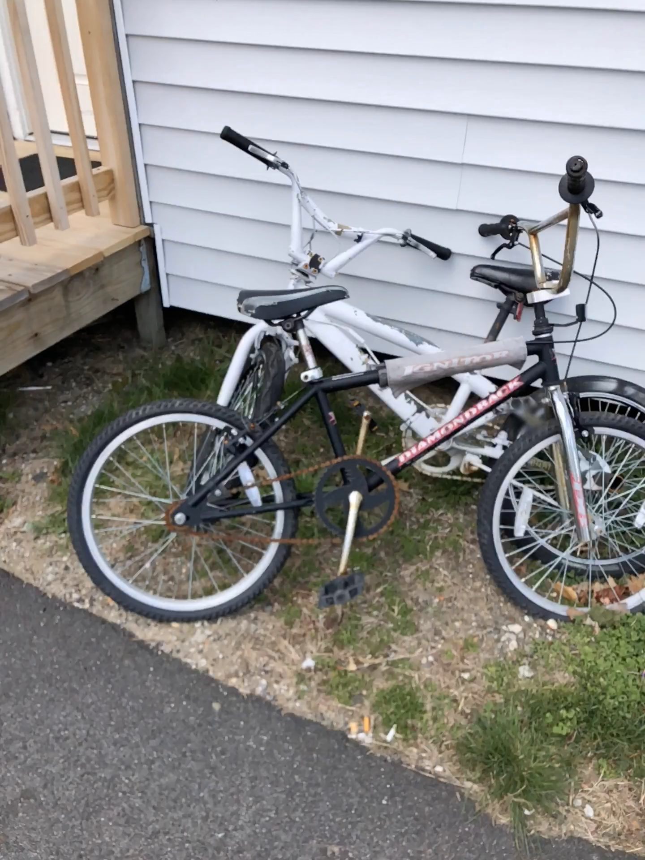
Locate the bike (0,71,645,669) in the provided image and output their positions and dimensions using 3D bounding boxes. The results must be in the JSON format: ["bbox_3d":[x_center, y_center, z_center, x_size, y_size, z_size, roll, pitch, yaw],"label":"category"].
[{"bbox_3d":[0.115,-0.153,1.501,1.295,0.932,0.762,-3,34,-2],"label":"bike"}]
